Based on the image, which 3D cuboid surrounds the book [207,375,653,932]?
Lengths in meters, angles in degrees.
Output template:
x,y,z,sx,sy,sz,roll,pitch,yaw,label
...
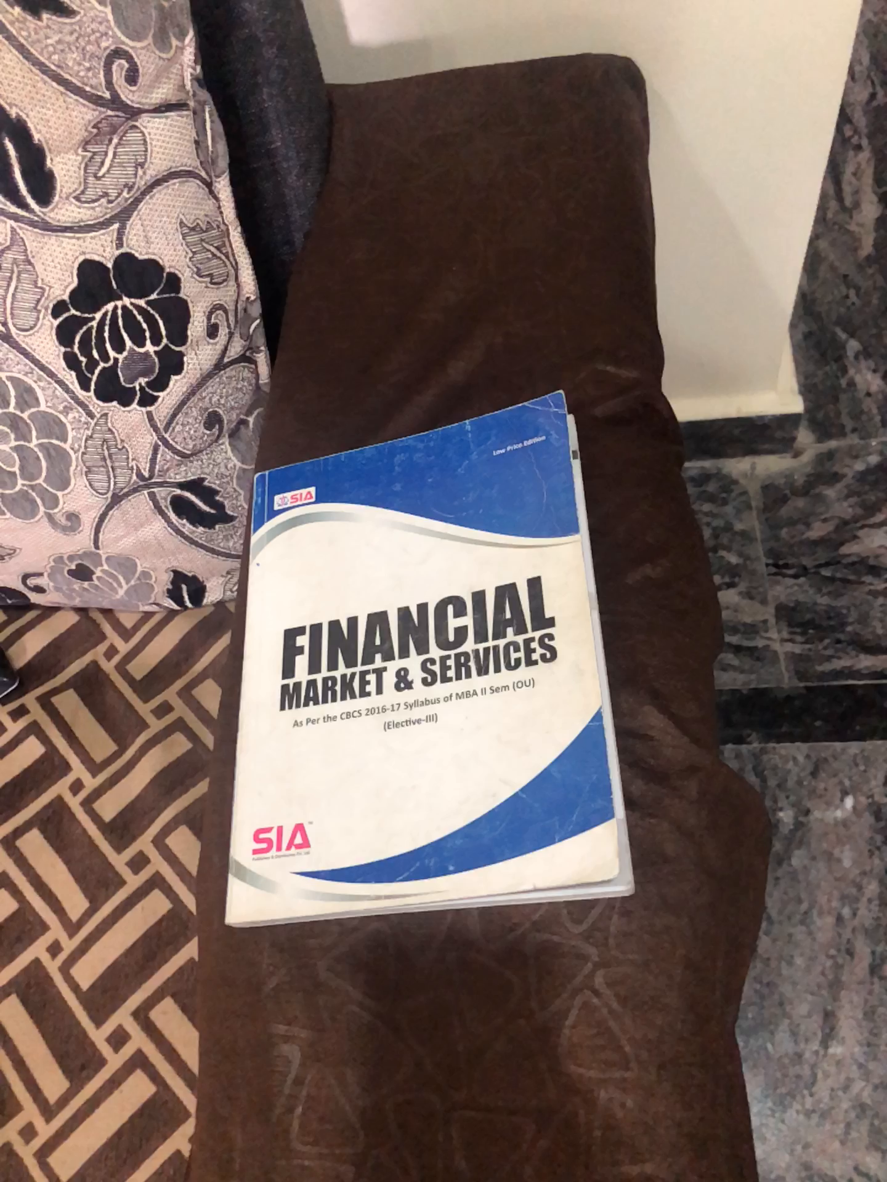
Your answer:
x,y,z,sx,sy,sz,roll,pitch,yaw,label
-0.015,0.029,0.553,0.220,0.040,0.290,-11,61,15,book
